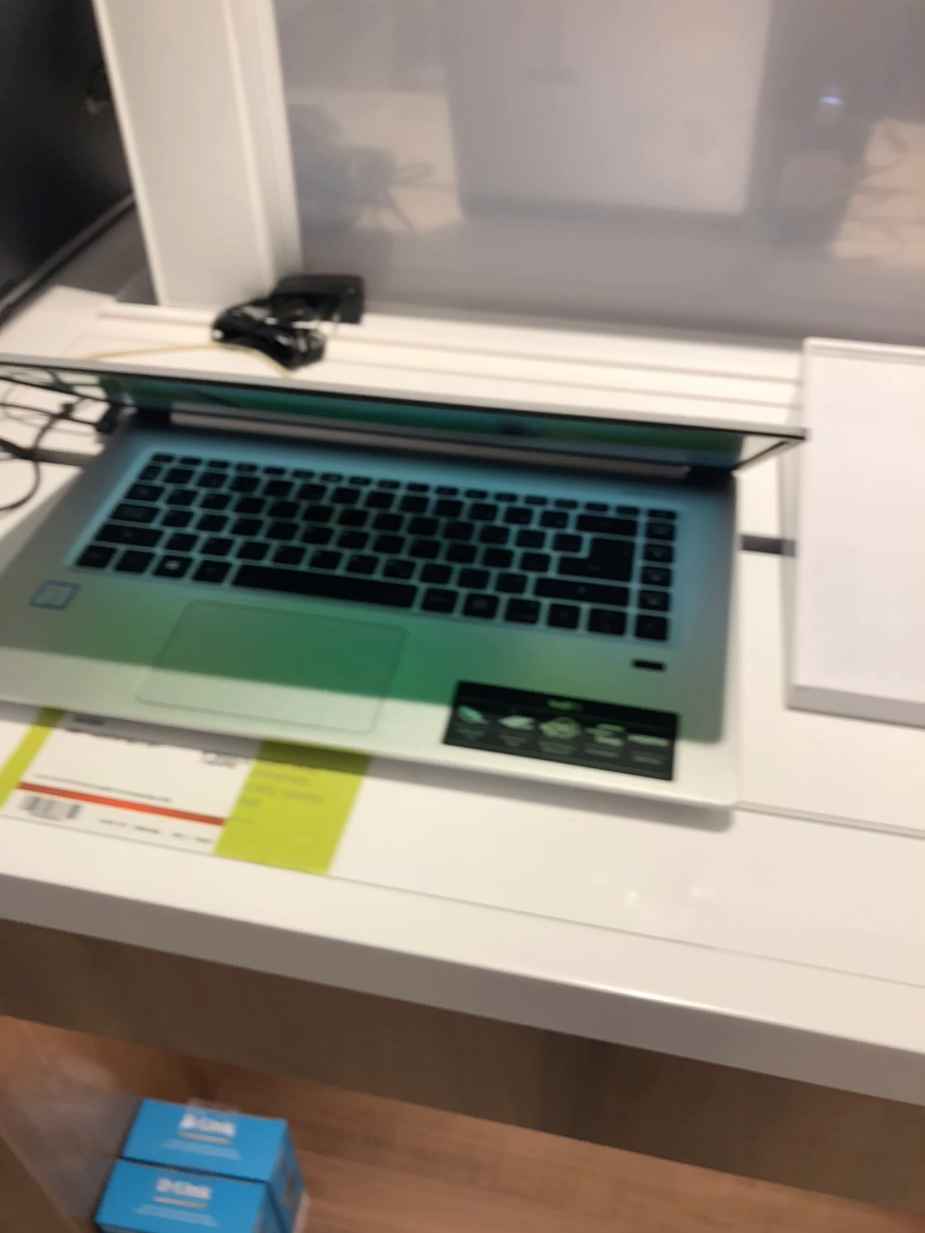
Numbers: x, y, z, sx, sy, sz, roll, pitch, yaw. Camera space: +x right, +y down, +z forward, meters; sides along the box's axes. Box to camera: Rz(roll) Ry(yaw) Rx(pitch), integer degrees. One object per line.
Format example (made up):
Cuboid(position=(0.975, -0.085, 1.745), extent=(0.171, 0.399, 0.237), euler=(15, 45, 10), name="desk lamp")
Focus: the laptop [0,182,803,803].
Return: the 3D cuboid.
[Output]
Cuboid(position=(-0.044, -0.073, 0.462), extent=(0.346, 0.132, 0.218), euler=(7, 44, 8), name="laptop")
